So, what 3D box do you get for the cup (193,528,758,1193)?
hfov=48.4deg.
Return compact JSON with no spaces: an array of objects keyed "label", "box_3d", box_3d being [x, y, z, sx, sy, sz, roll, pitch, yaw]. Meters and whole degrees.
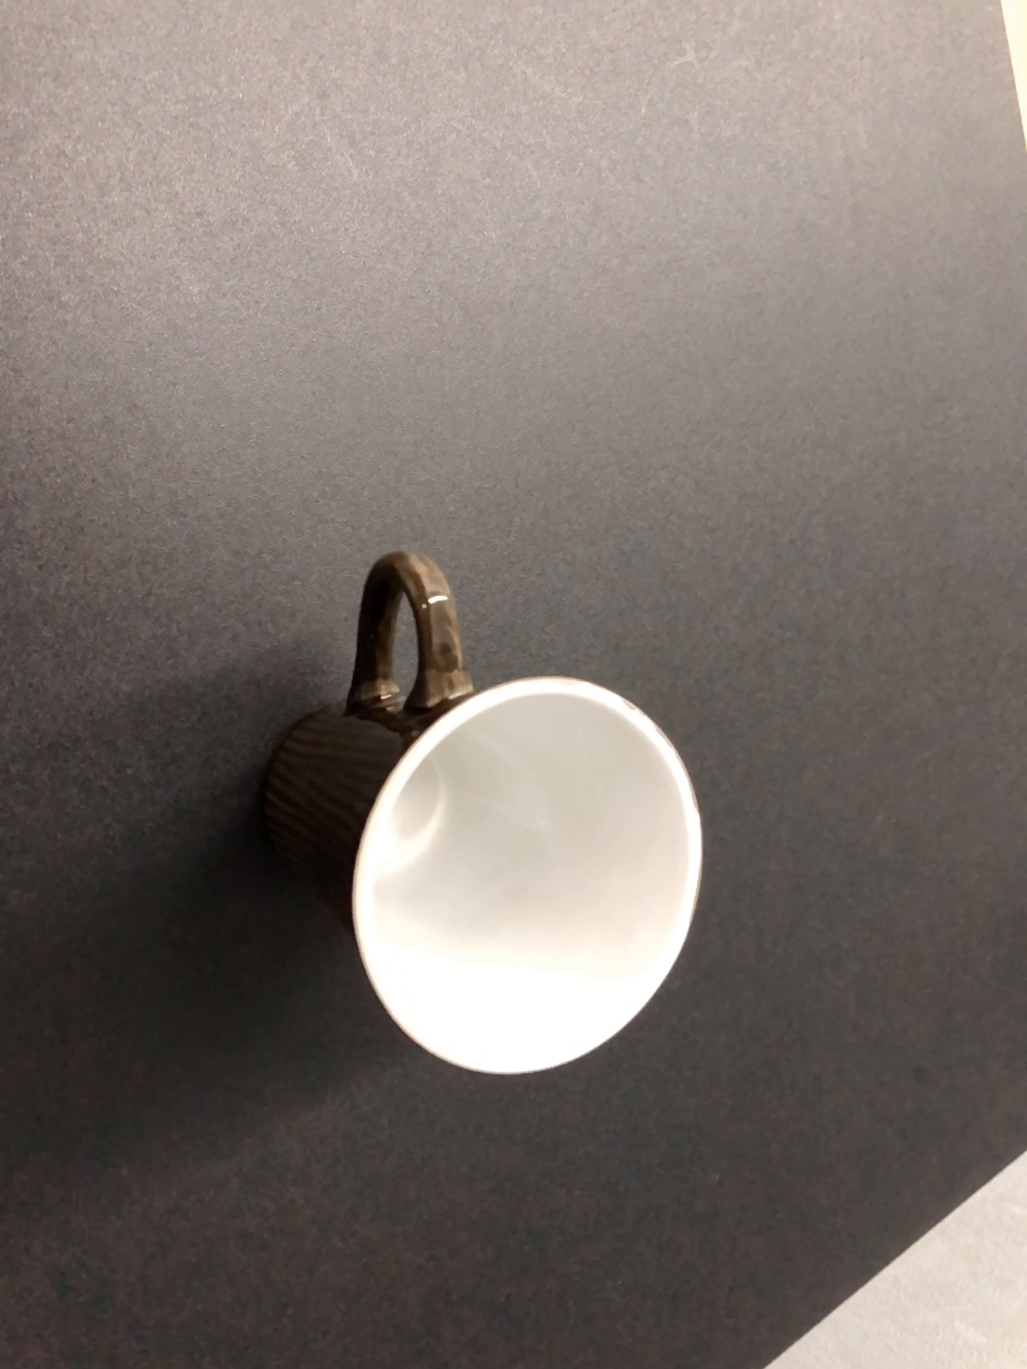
[{"label":"cup","box_3d":[-0.009,0.022,0.207,0.065,0.069,0.089,-13,101,-28]}]
